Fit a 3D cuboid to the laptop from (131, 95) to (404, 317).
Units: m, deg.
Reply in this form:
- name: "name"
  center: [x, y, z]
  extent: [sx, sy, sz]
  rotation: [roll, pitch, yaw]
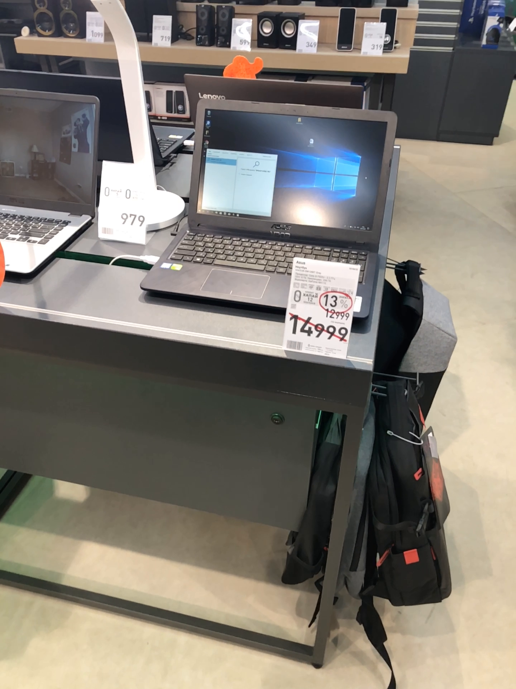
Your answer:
- name: "laptop"
  center: [0.040, -0.265, 0.996]
  extent: [0.380, 0.209, 0.372]
  rotation: [8, 38, 11]
